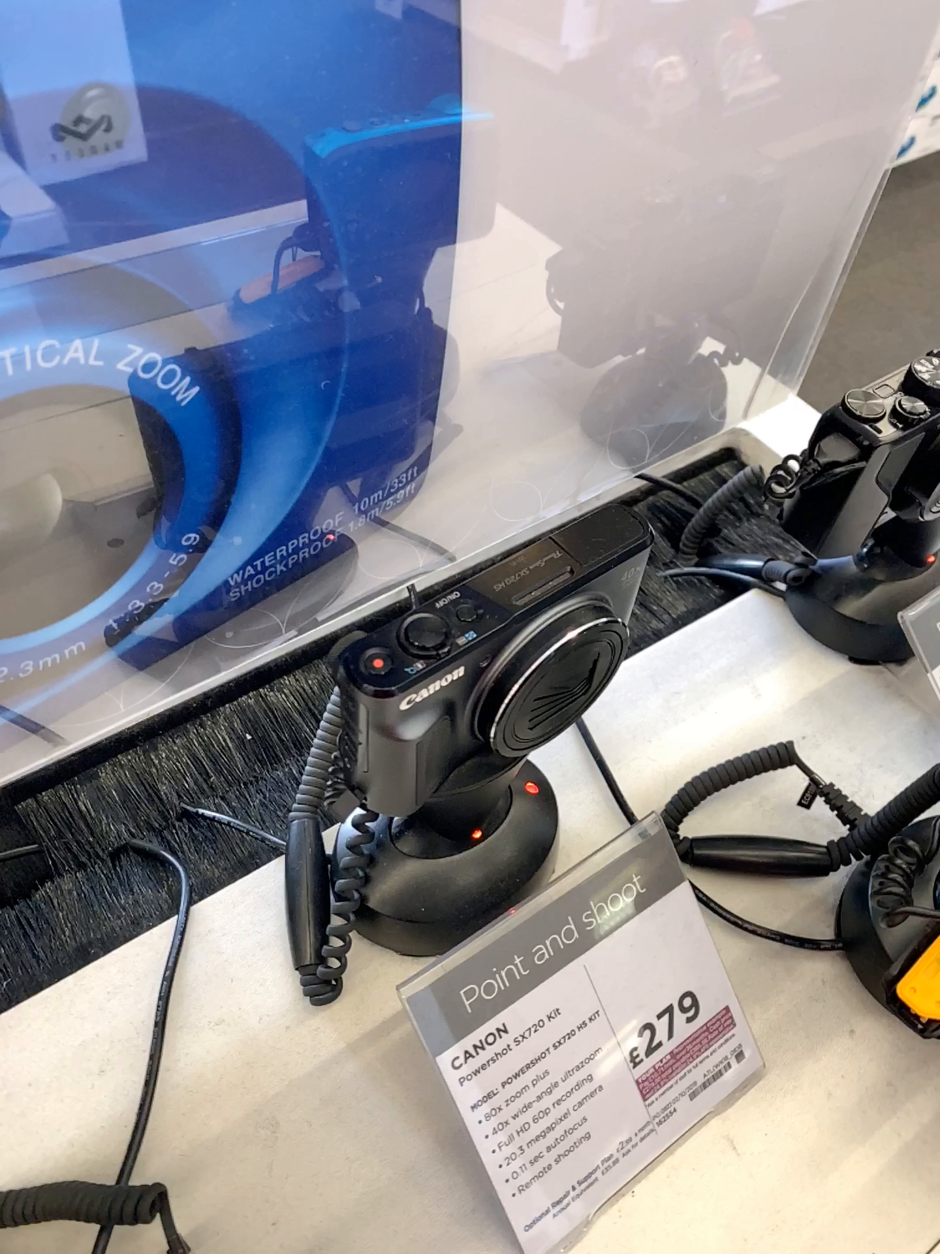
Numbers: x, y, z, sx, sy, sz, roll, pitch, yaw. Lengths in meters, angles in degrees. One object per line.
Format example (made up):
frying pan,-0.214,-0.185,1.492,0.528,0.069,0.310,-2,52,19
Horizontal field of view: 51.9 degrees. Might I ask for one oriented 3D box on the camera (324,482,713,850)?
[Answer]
camera,0.014,0.010,0.285,0.113,0.061,0.031,-29,59,-26
